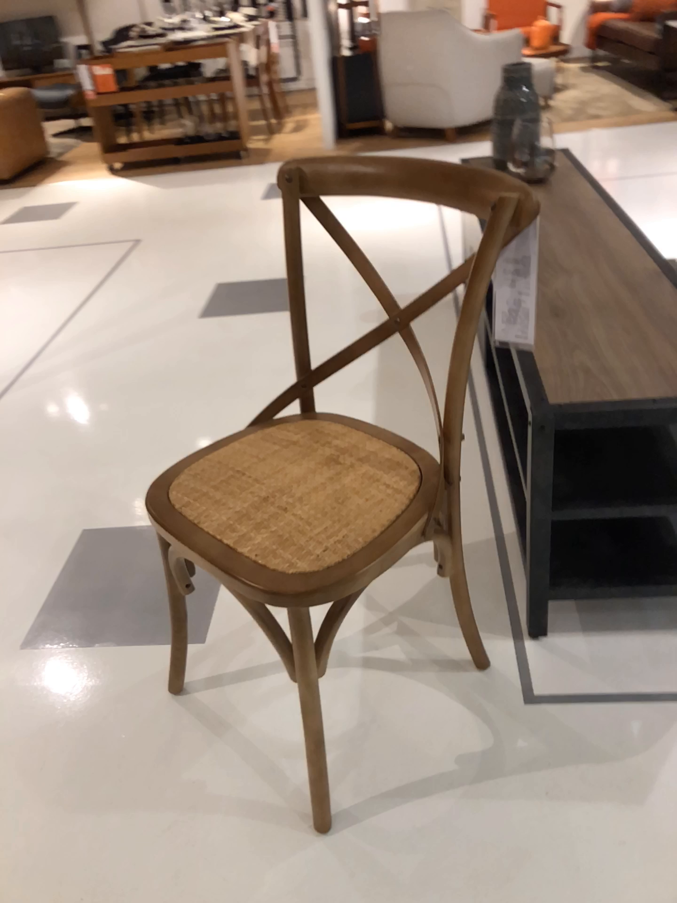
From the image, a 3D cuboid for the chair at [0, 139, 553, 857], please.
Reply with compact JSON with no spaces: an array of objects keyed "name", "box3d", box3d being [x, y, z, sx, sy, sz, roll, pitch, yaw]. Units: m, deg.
[{"name":"chair","box3d":[-0.048,0.031,1.200,0.572,0.863,0.502,-32,40,-33]}]
